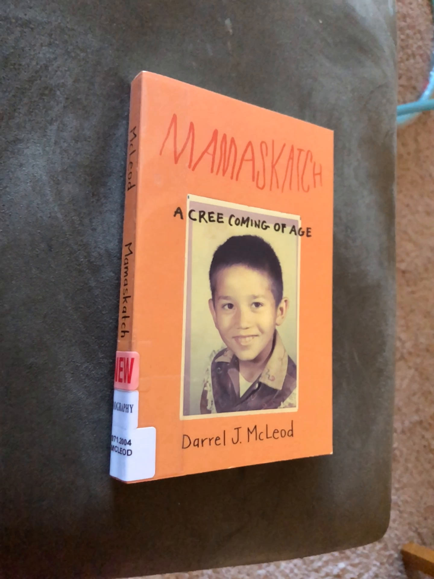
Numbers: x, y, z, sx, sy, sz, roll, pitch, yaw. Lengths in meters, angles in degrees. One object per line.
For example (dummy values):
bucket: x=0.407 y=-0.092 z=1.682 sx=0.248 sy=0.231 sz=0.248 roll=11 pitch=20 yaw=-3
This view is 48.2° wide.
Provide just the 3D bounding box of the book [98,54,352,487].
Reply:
book: x=0.012 y=-0.007 z=0.298 sx=0.151 sy=0.040 sz=0.218 roll=4 pitch=85 yaw=-30
